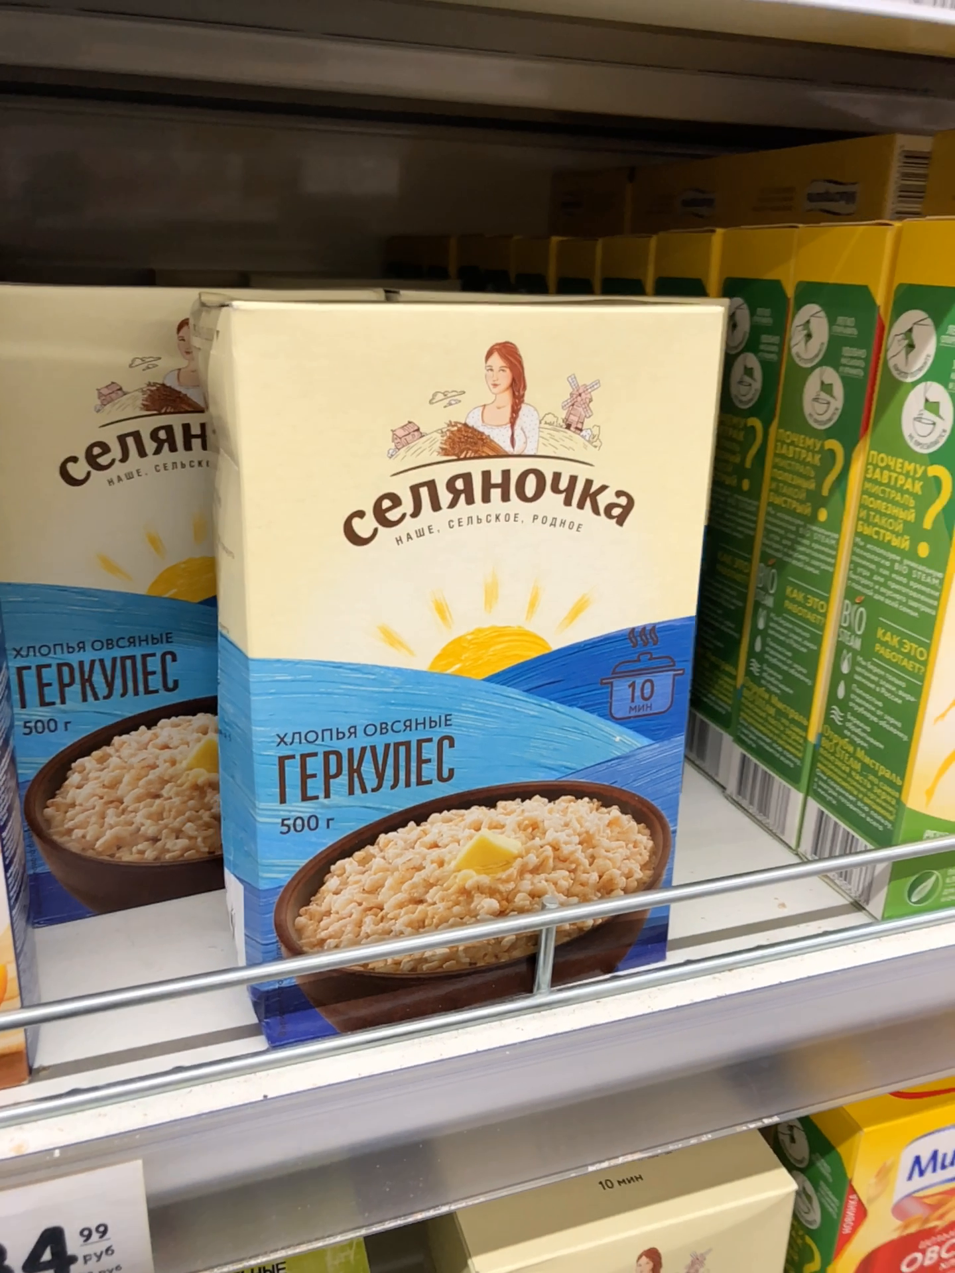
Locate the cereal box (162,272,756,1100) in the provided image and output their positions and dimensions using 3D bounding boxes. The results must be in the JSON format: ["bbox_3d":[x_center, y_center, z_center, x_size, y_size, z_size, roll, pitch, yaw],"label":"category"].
[{"bbox_3d":[-0.008,0.008,0.285,0.130,0.199,0.060,-5,20,-18],"label":"cereal box"}]
